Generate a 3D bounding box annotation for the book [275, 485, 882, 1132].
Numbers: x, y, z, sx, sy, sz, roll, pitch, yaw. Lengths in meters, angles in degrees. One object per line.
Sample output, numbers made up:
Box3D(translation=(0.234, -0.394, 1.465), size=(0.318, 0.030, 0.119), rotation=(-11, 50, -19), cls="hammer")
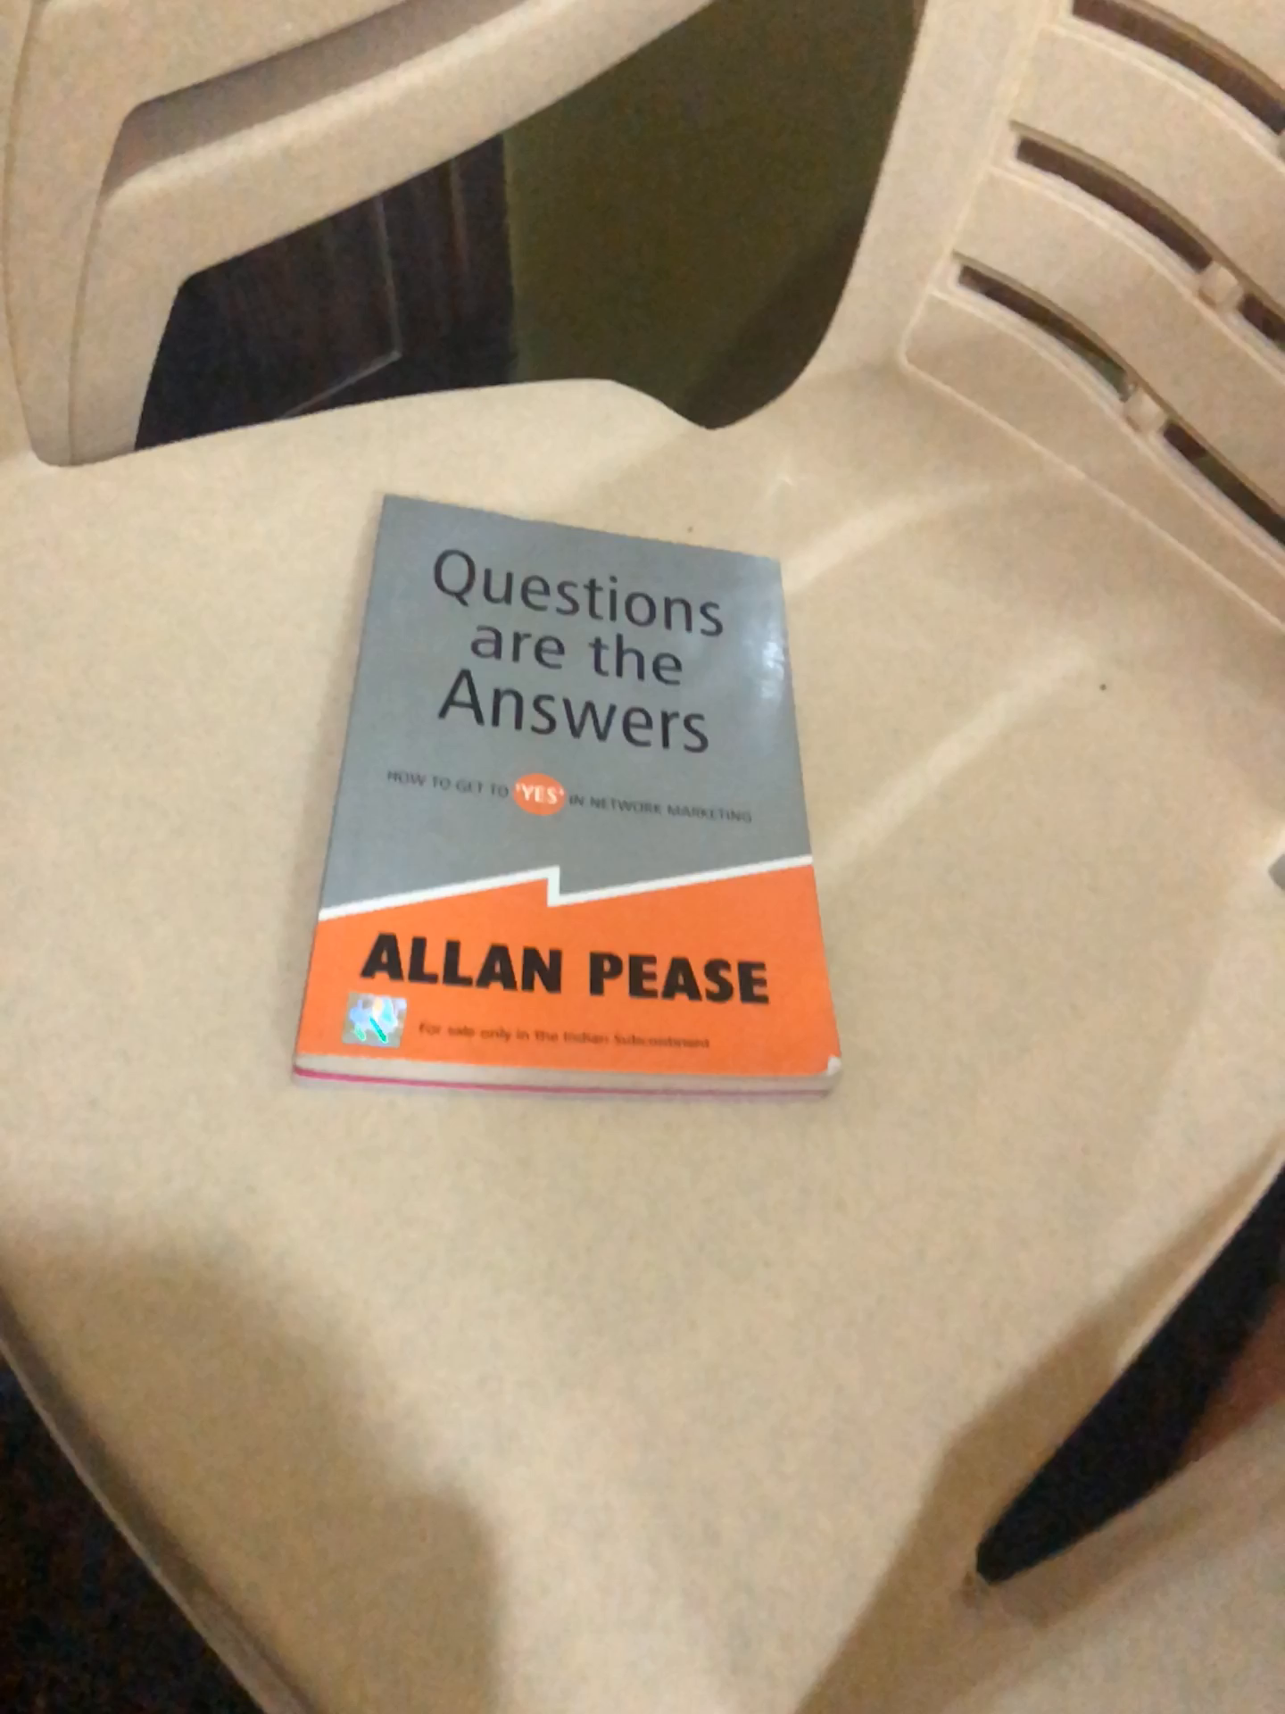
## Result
Box3D(translation=(-0.016, -0.025, 0.420), size=(0.150, 0.020, 0.210), rotation=(5, 53, -8), cls="book")
